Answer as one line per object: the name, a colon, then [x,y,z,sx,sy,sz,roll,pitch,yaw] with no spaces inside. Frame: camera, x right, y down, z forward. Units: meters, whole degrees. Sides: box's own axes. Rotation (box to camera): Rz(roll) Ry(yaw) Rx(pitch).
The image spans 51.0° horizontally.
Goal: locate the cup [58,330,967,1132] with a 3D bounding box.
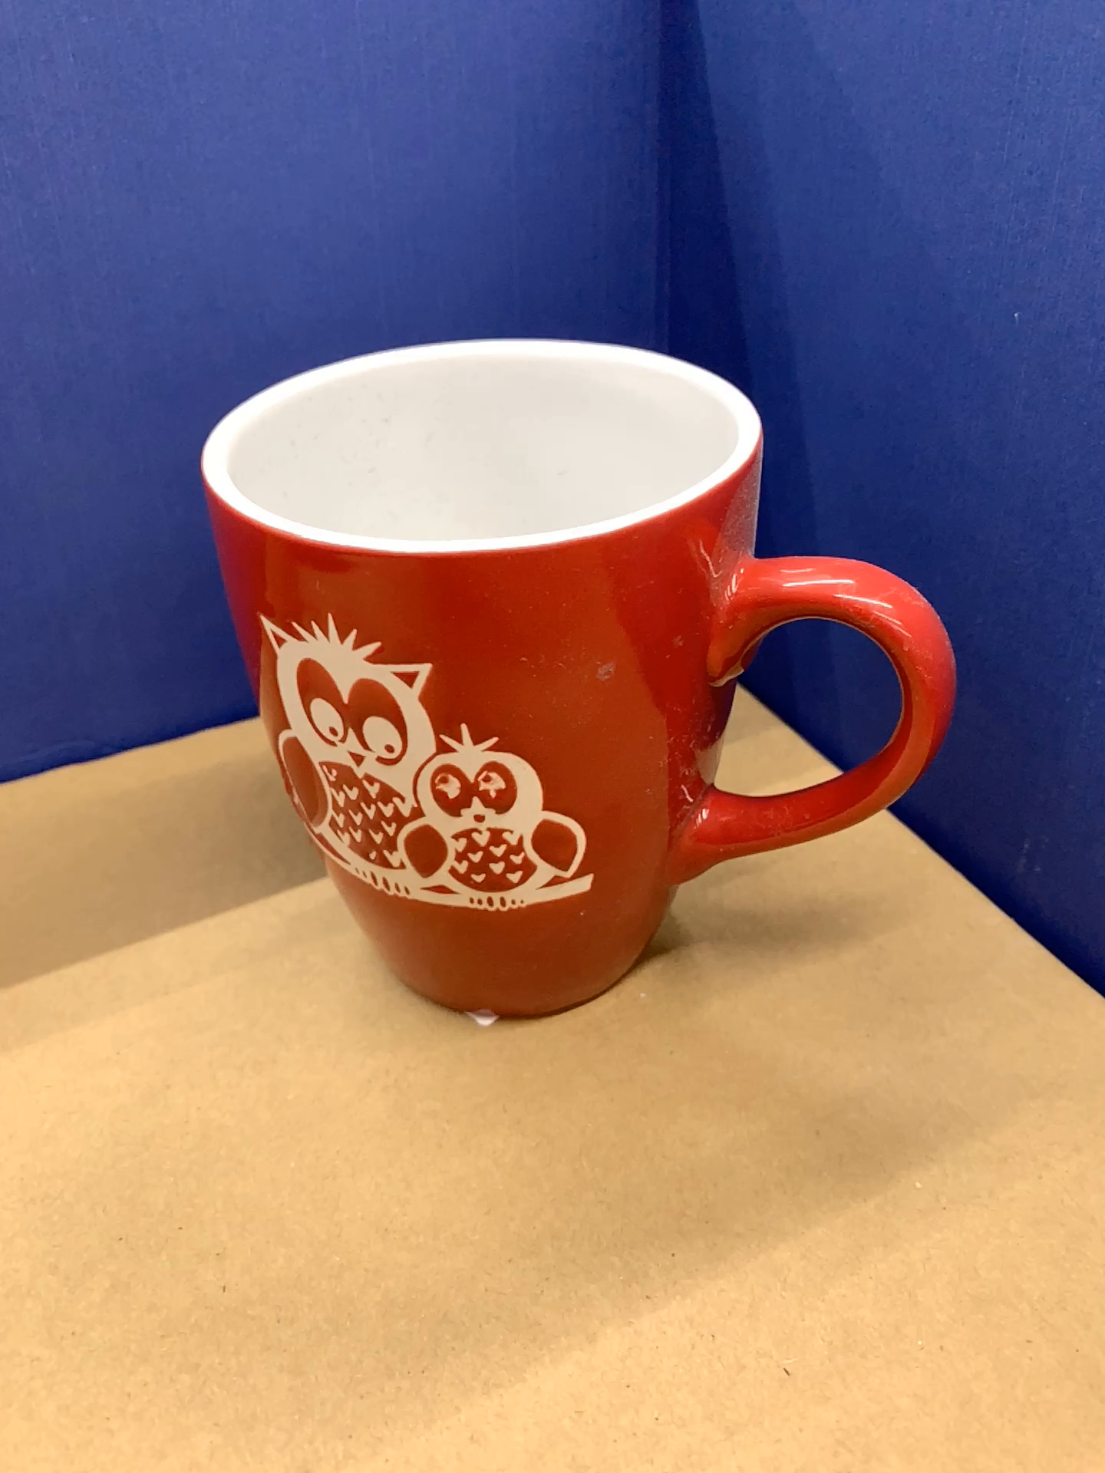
cup: [0.004,-0.012,0.209,0.120,0.091,0.100,8,34,15]
